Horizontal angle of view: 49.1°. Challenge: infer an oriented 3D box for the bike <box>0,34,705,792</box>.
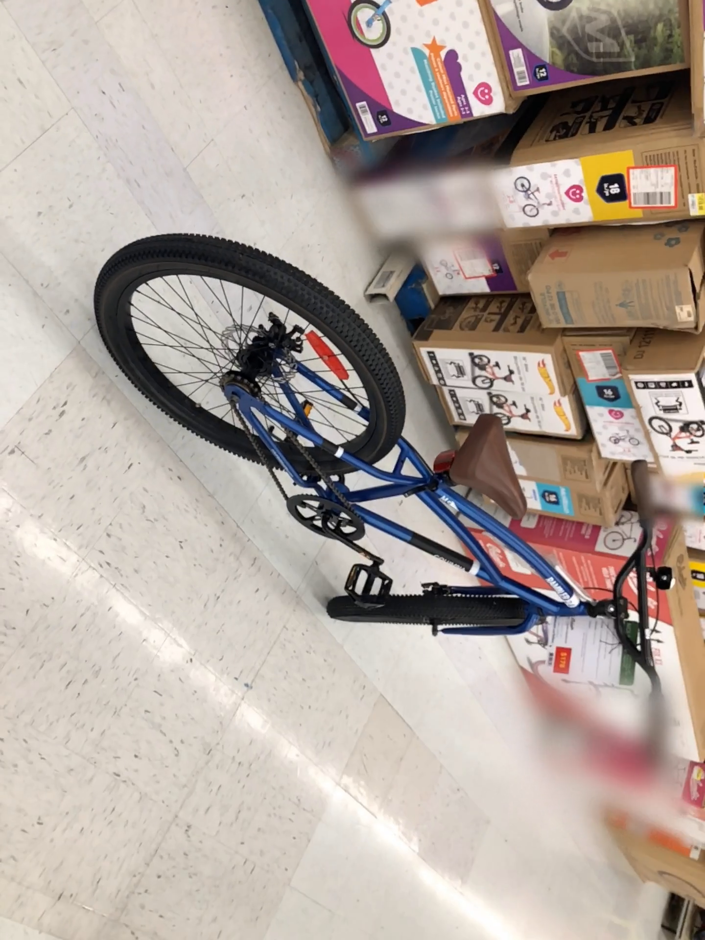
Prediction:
[{"bbox_3d":[0.211,0.053,1.708,1.559,0.928,0.649,49,57,-45],"label":"bike"}]
